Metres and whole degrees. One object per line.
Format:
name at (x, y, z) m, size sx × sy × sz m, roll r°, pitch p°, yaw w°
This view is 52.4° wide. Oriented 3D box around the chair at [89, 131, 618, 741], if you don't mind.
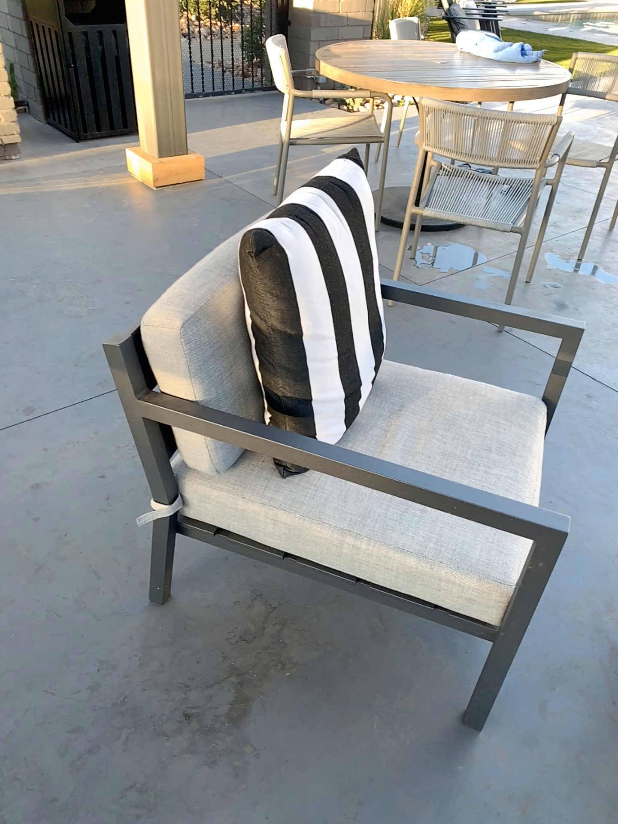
chair at (0.158, -0.015, 1.277) m, size 0.750 × 0.796 × 0.733 m, roll 15°, pitch 38°, yaw 14°
